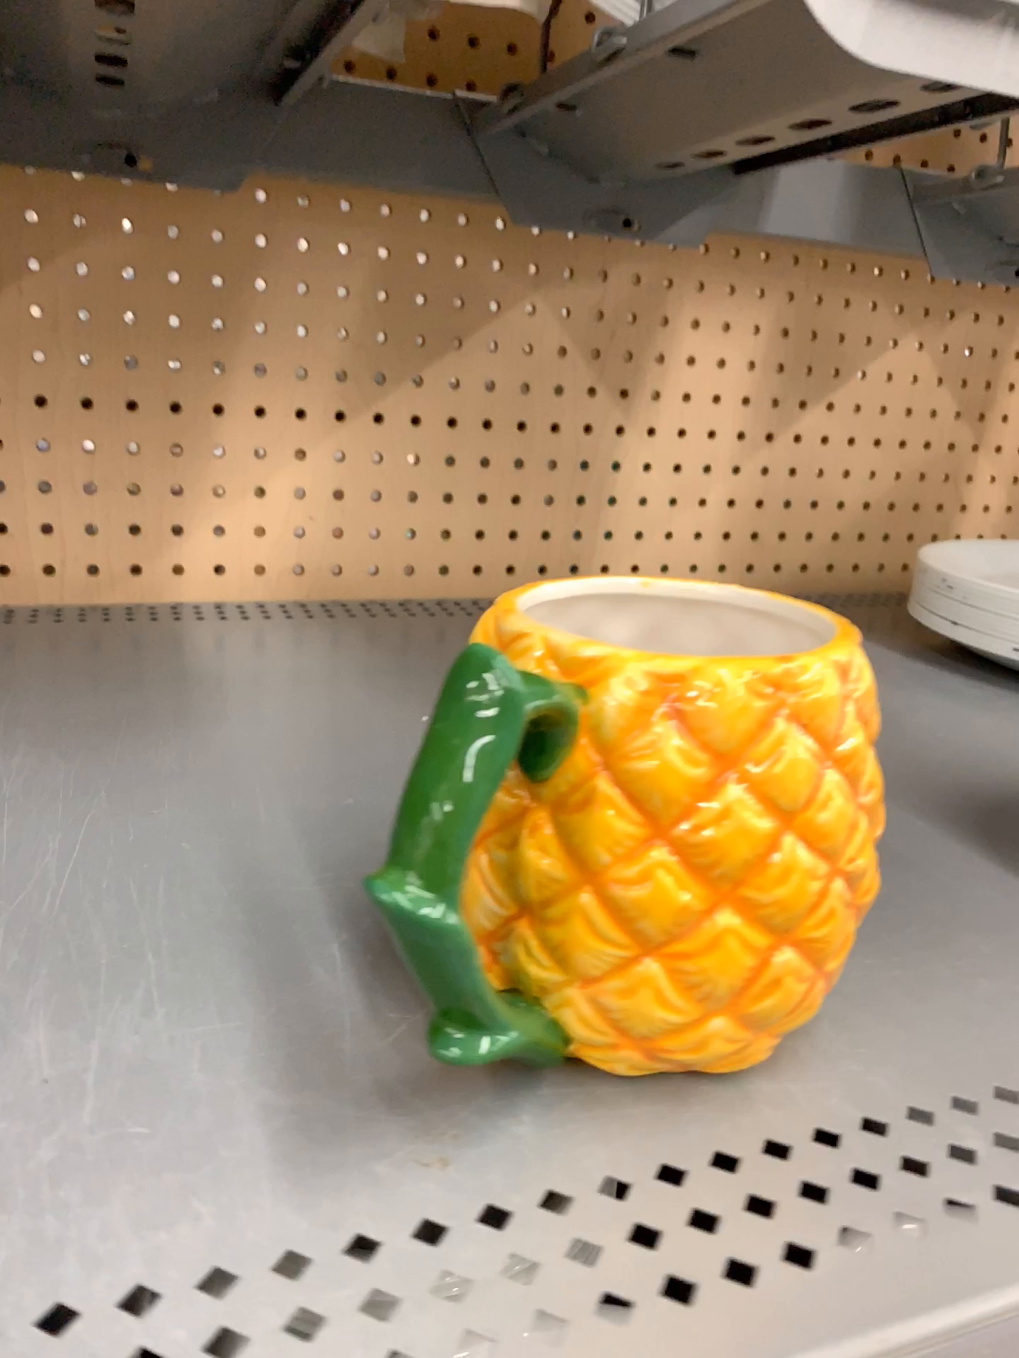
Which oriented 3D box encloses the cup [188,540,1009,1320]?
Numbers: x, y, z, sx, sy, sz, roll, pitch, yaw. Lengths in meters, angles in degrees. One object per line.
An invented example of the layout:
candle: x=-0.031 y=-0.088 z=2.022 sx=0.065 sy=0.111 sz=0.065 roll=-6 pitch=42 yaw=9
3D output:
cup: x=0.024 y=0.031 z=0.245 sx=0.160 sy=0.100 sz=0.100 roll=-12 pitch=23 yaw=-43
